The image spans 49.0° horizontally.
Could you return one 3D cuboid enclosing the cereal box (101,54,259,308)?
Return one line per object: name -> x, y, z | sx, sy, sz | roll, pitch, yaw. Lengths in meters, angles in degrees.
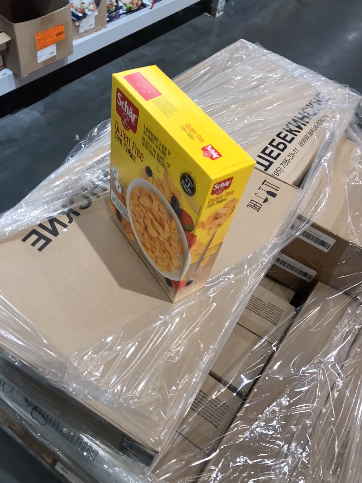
cereal box -> -0.026, -0.064, 0.511 | 0.060, 0.248, 0.201 | -25, 62, -27
